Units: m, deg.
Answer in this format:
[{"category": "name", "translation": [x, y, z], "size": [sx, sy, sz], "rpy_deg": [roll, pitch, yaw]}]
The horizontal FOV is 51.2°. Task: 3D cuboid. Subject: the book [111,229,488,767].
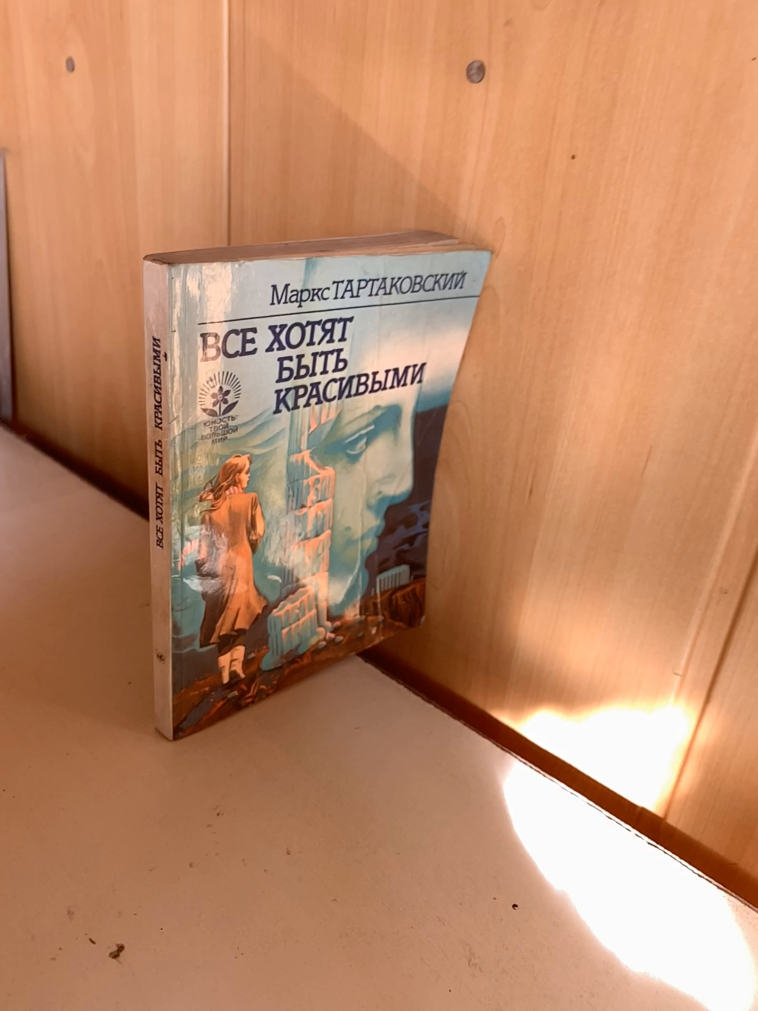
[{"category": "book", "translation": [-0.024, -0.008, 0.273], "size": [0.029, 0.159, 0.125], "rpy_deg": [28, 34, 36]}]
